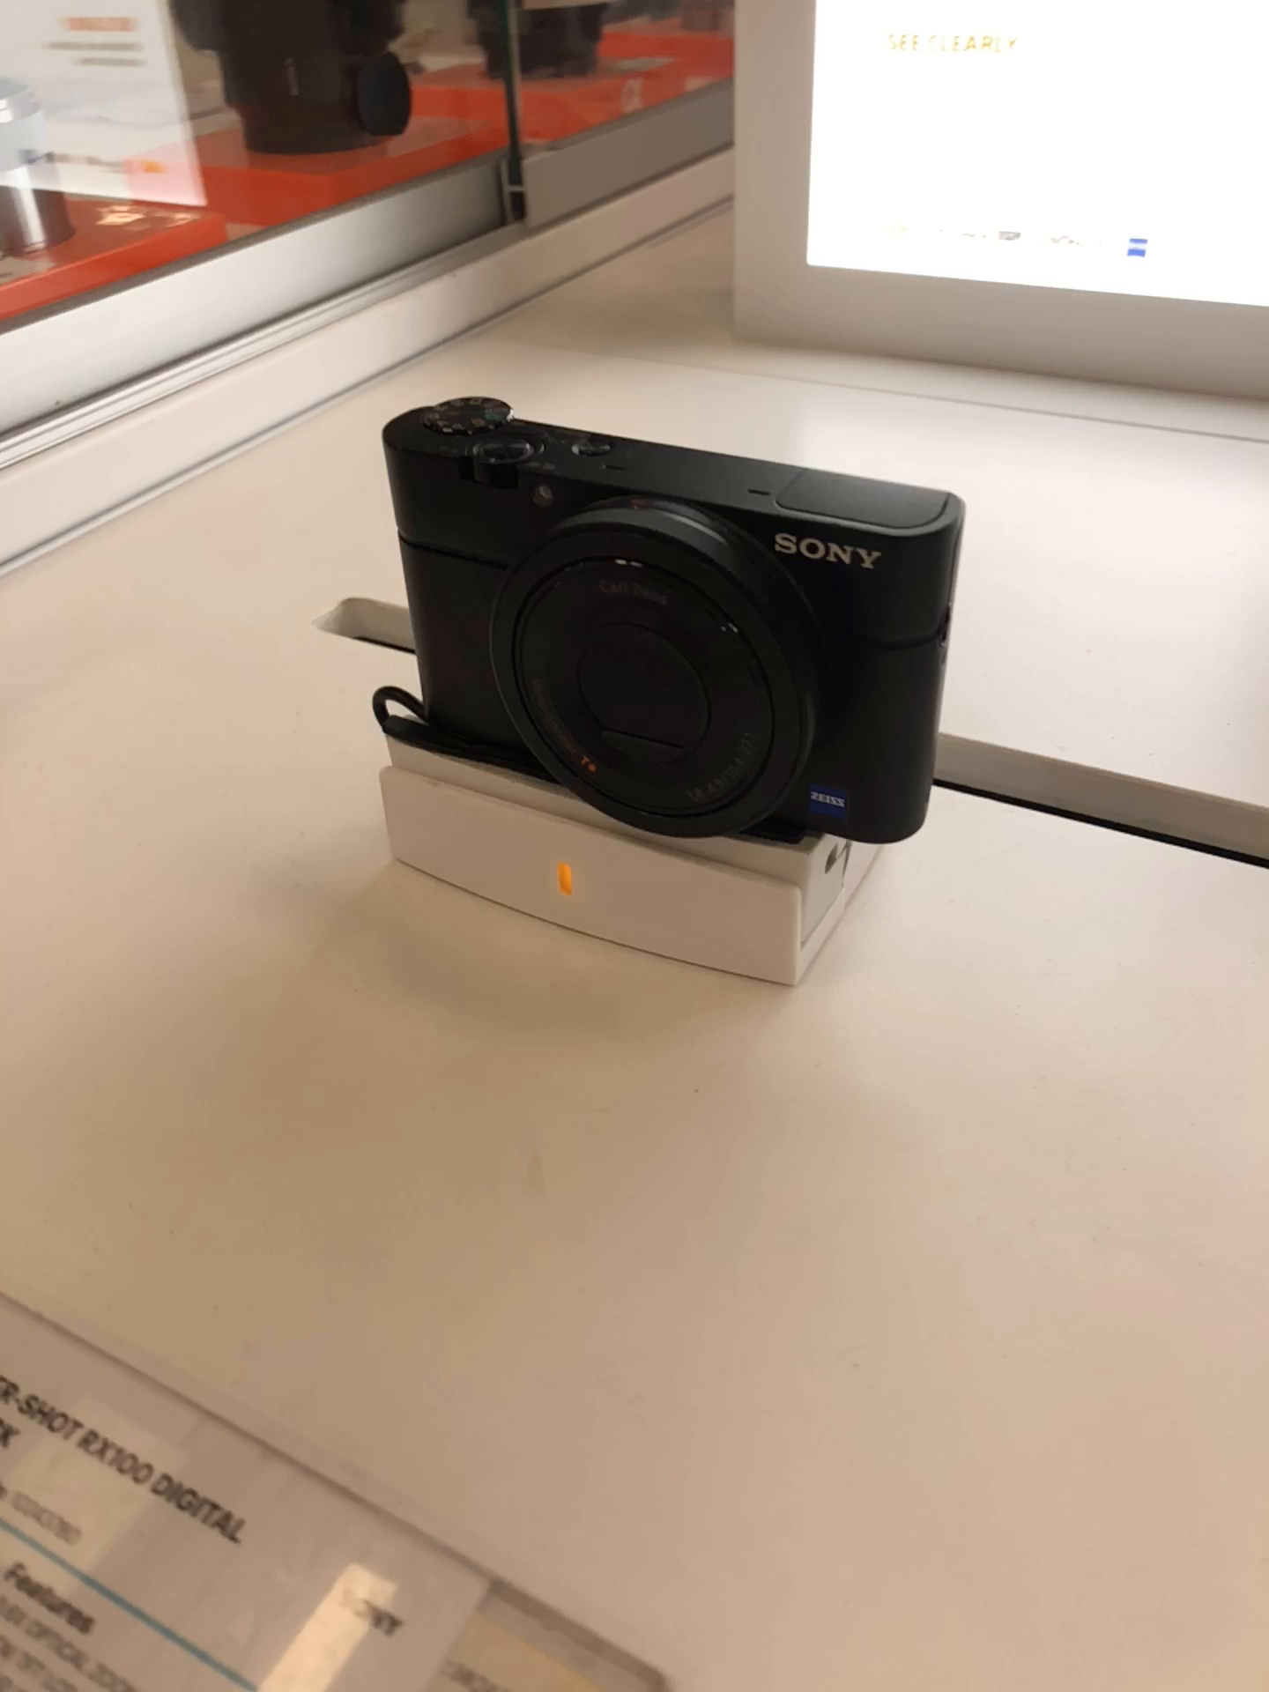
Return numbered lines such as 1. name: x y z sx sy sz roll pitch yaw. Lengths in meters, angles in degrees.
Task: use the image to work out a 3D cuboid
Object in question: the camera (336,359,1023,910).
1. camera: 0.006 -0.040 0.250 0.110 0.070 0.030 17 40 25
